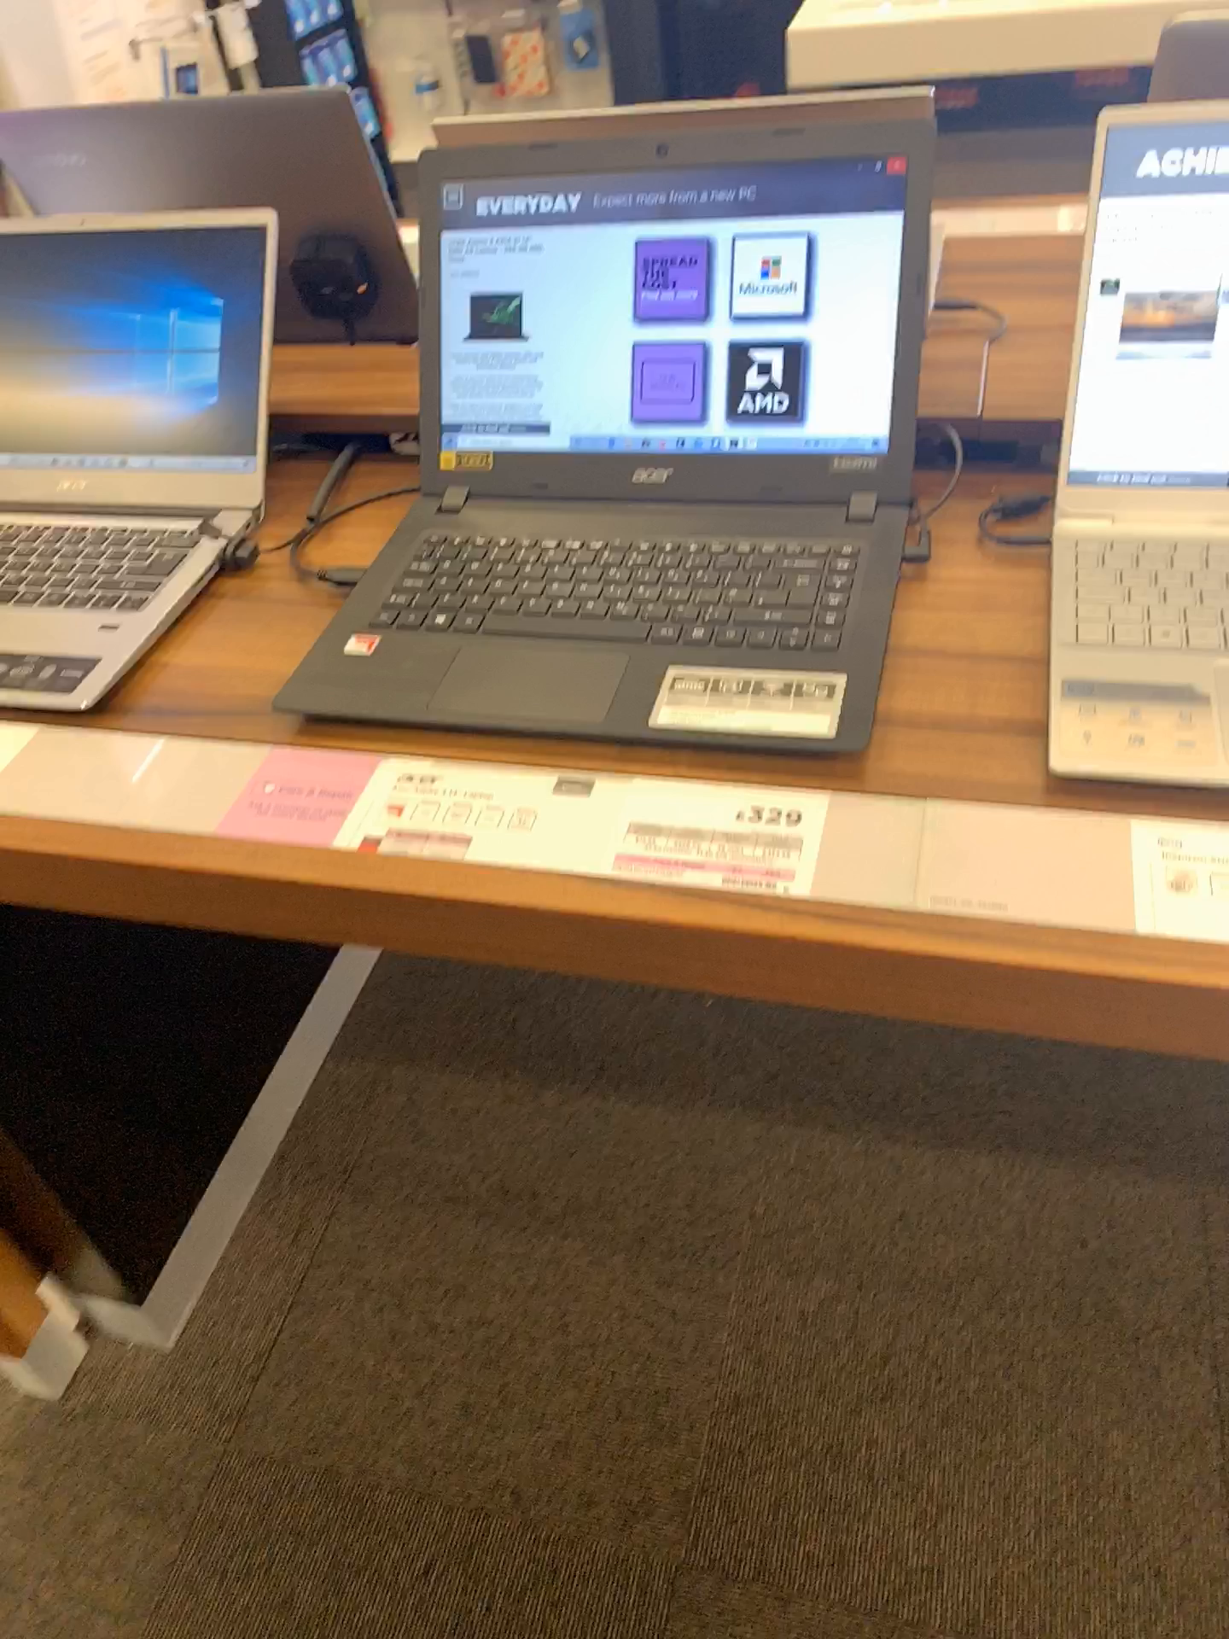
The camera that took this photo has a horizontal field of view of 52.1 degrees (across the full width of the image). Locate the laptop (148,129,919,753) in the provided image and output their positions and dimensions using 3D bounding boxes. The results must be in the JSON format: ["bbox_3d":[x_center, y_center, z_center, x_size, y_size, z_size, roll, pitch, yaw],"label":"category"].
[{"bbox_3d":[-0.005,-0.236,0.727,0.325,0.193,0.357,5,43,15],"label":"laptop"}]
